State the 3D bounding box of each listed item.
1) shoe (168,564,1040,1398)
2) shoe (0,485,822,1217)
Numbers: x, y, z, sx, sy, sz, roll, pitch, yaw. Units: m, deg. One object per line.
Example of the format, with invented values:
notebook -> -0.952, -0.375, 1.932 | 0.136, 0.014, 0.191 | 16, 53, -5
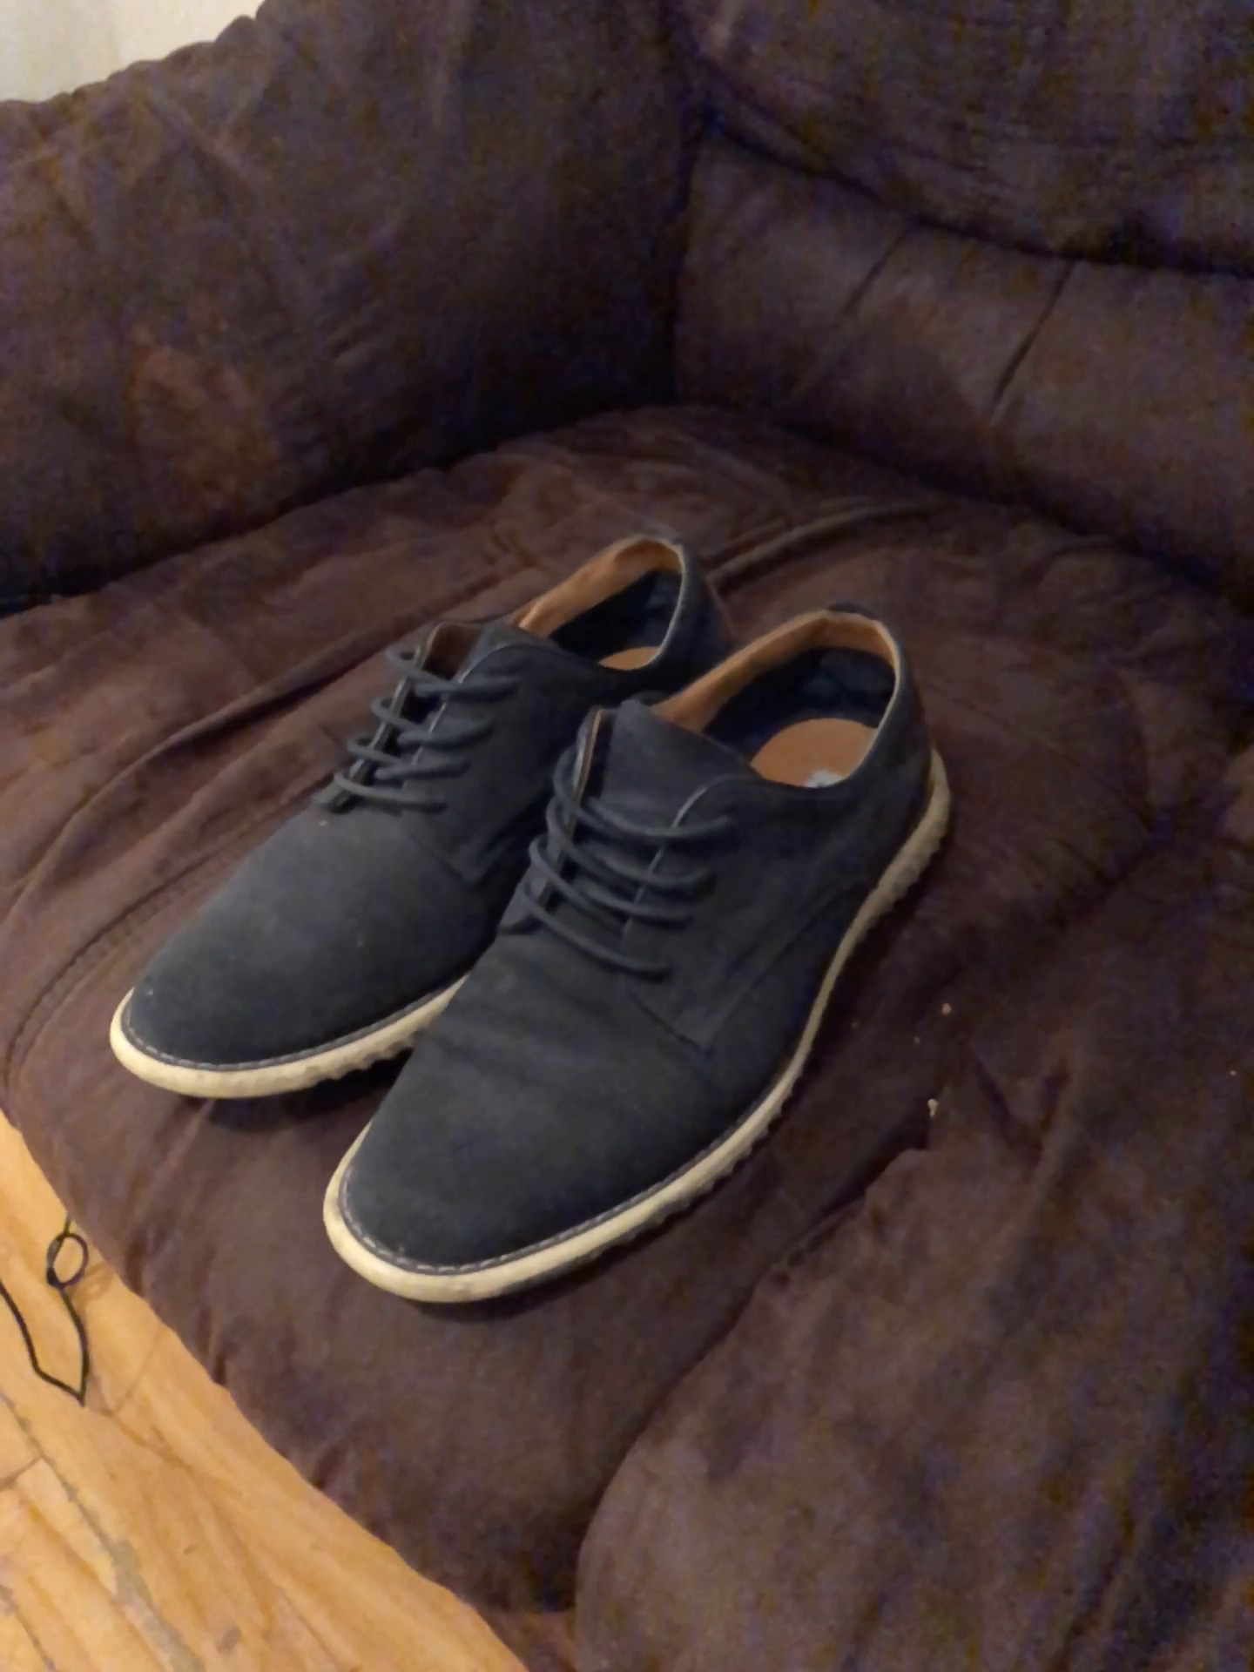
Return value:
shoe -> 0.012, 0.022, 0.464 | 0.120, 0.079, 0.291 | 25, 48, 31
shoe -> -0.063, -0.015, 0.520 | 0.121, 0.099, 0.291 | 28, 50, 33
